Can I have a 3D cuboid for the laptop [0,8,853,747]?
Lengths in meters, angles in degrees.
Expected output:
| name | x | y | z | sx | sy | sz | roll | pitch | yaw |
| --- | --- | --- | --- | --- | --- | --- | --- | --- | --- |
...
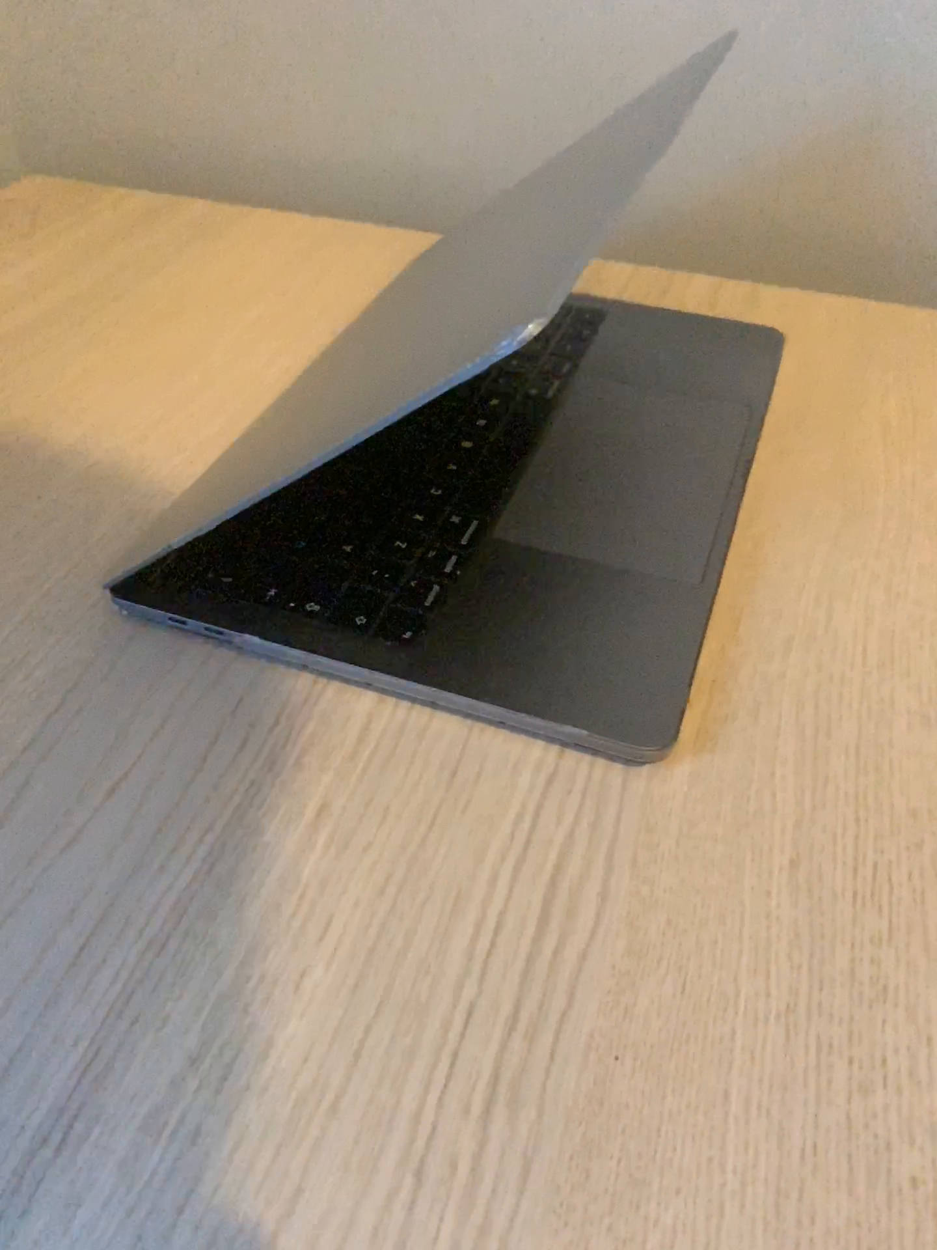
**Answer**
| name | x | y | z | sx | sy | sz | roll | pitch | yaw |
| --- | --- | --- | --- | --- | --- | --- | --- | --- | --- |
| laptop | 0.016 | -0.128 | 0.378 | 0.204 | 0.130 | 0.291 | 14 | 45 | 15 |
